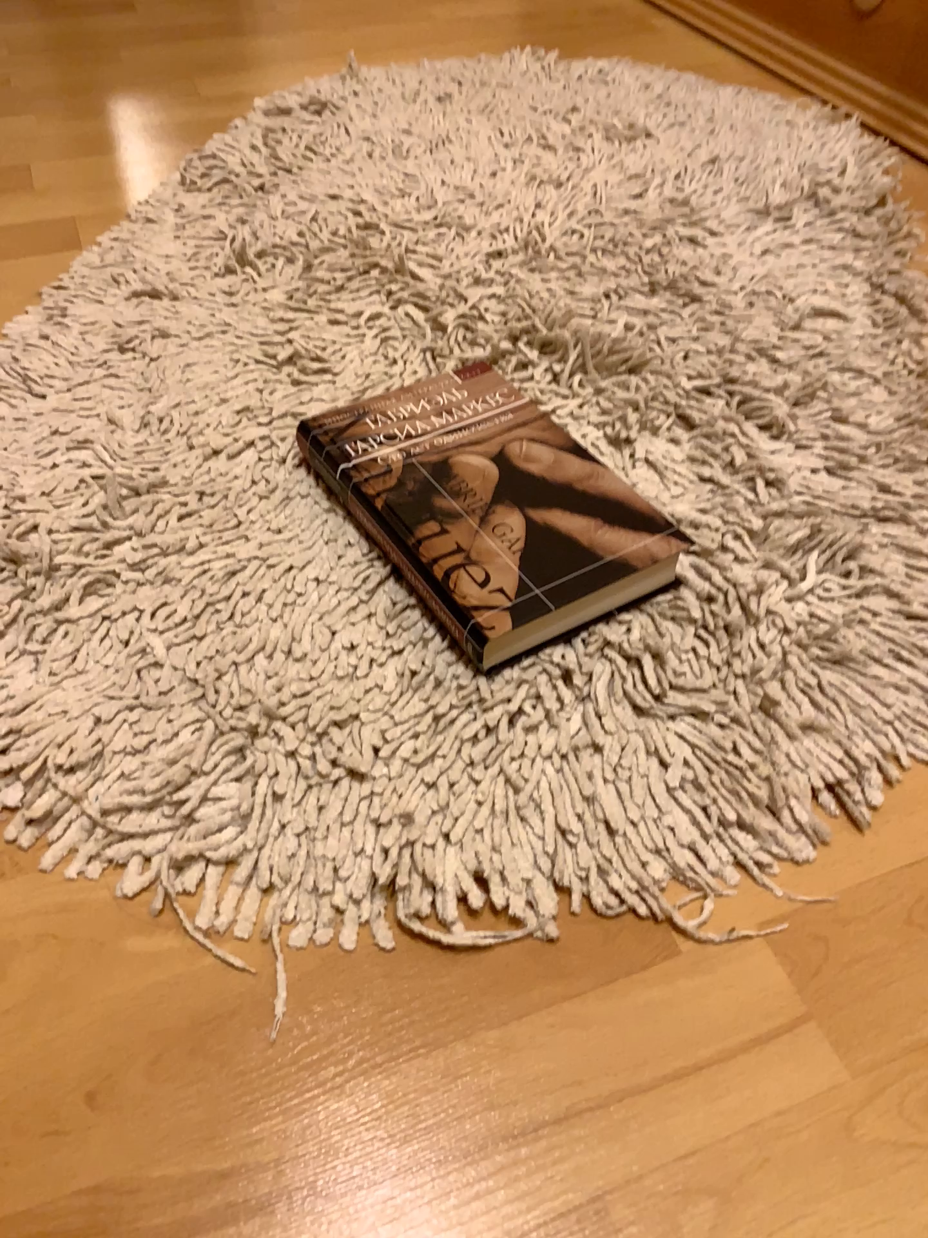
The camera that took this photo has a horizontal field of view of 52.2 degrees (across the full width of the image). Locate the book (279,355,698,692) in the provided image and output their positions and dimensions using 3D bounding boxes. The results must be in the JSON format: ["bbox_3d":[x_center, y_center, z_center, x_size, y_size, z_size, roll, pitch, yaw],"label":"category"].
[{"bbox_3d":[0.006,-0.067,0.535,0.140,0.030,0.211,-24,52,-22],"label":"book"}]
